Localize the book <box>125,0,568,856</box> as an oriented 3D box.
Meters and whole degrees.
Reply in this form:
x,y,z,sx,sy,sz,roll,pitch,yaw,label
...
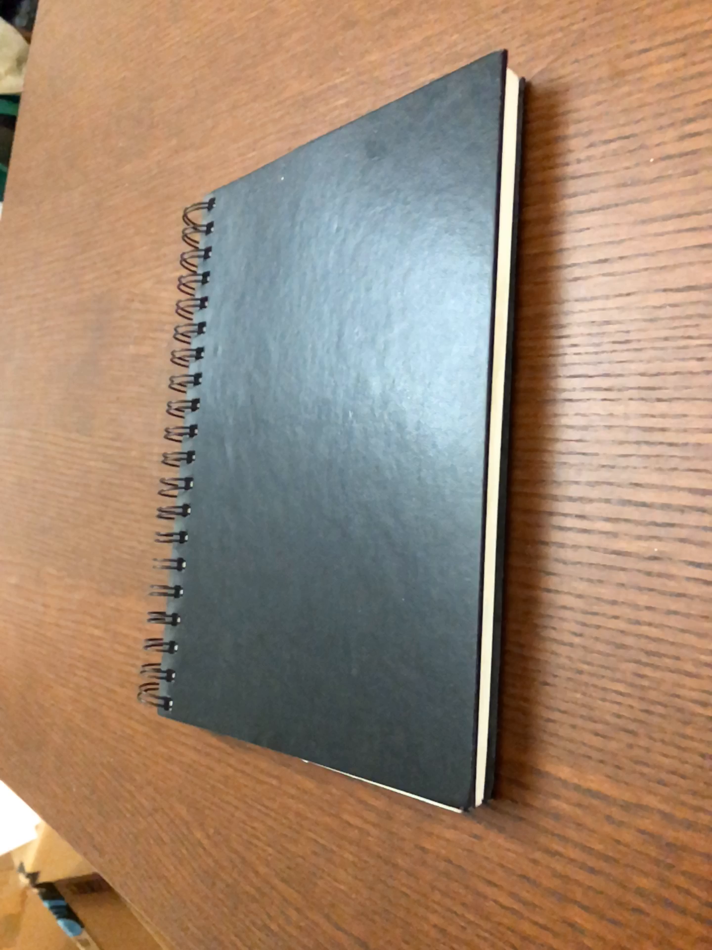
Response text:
x,y,z,sx,sy,sz,roll,pitch,yaw,label
-0.016,-0.017,0.316,0.201,0.030,0.260,-5,79,45,book
